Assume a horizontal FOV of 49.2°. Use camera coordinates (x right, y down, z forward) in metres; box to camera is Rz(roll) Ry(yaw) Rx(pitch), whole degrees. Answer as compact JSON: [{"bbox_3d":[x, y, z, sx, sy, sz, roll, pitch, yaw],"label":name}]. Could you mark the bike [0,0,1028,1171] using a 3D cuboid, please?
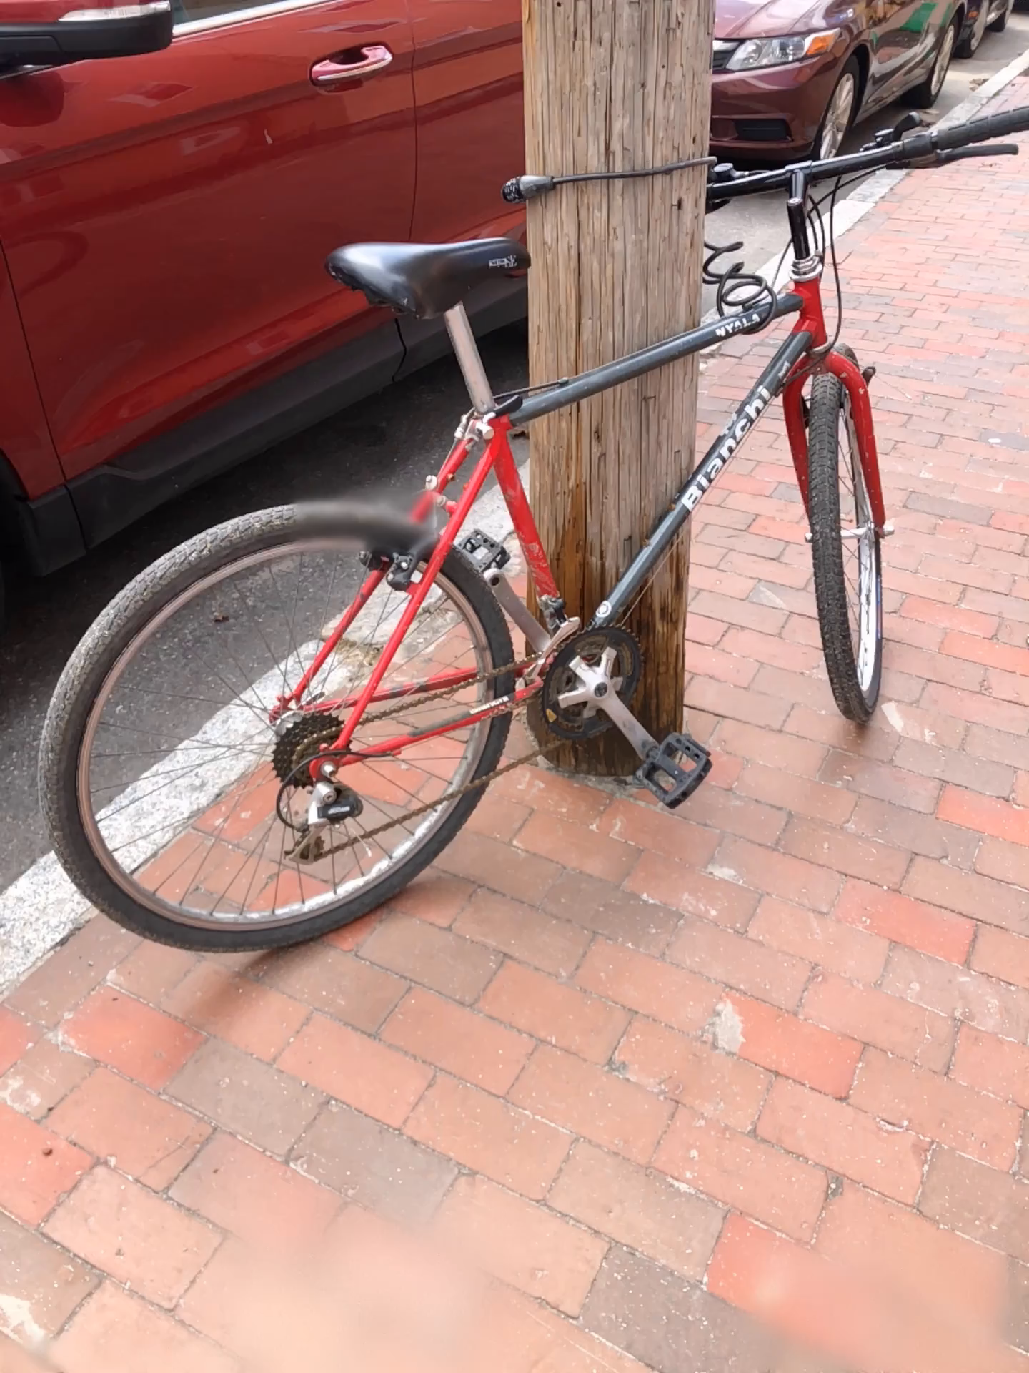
[{"bbox_3d":[0.061,-0.323,1.581,1.532,0.983,0.581,-27,43,-32],"label":"bike"}]
